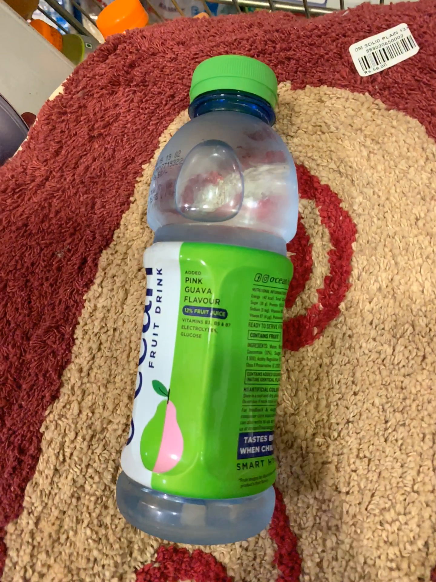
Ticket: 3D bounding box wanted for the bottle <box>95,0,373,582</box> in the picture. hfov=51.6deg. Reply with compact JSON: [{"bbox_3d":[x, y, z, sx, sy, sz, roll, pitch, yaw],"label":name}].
[{"bbox_3d":[0.011,-0.006,0.201,0.080,0.070,0.210,3,86,36],"label":"bottle"}]
